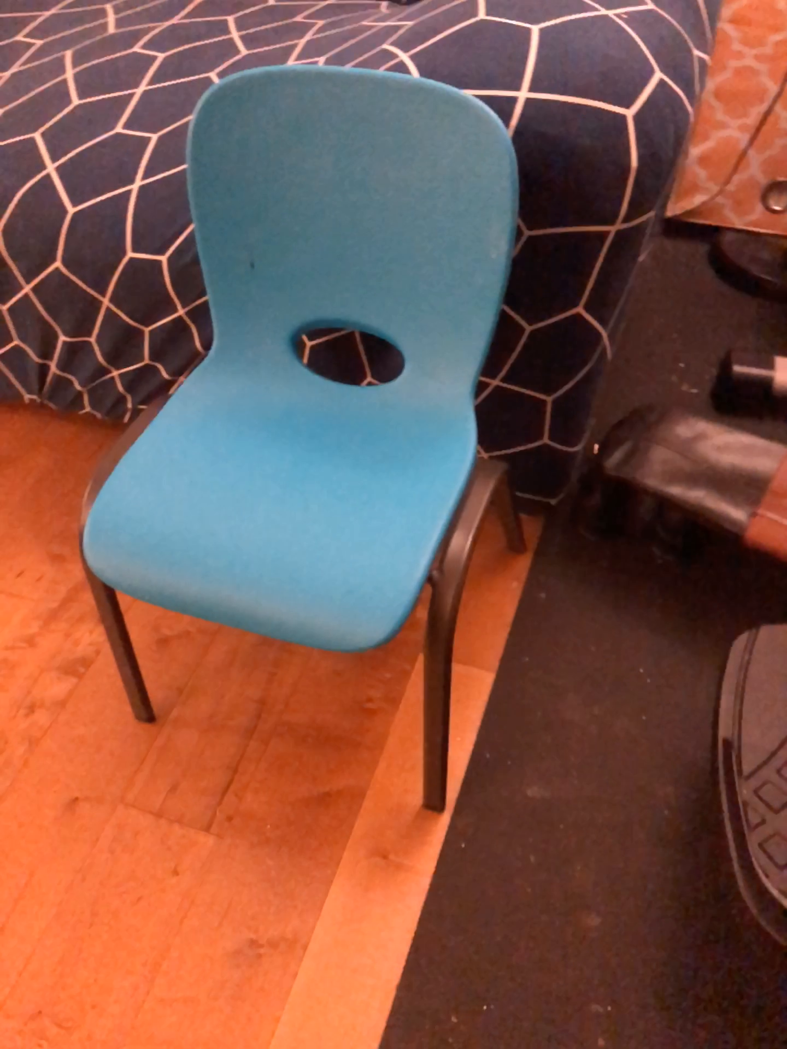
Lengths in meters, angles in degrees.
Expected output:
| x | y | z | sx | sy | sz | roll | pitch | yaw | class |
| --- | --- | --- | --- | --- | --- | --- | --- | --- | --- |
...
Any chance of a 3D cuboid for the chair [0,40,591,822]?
| x | y | z | sx | sy | sz | roll | pitch | yaw | class |
| --- | --- | --- | --- | --- | --- | --- | --- | --- | --- |
| -0.095 | -0.076 | 0.800 | 0.430 | 0.527 | 0.402 | 11 | 50 | 13 | chair |
